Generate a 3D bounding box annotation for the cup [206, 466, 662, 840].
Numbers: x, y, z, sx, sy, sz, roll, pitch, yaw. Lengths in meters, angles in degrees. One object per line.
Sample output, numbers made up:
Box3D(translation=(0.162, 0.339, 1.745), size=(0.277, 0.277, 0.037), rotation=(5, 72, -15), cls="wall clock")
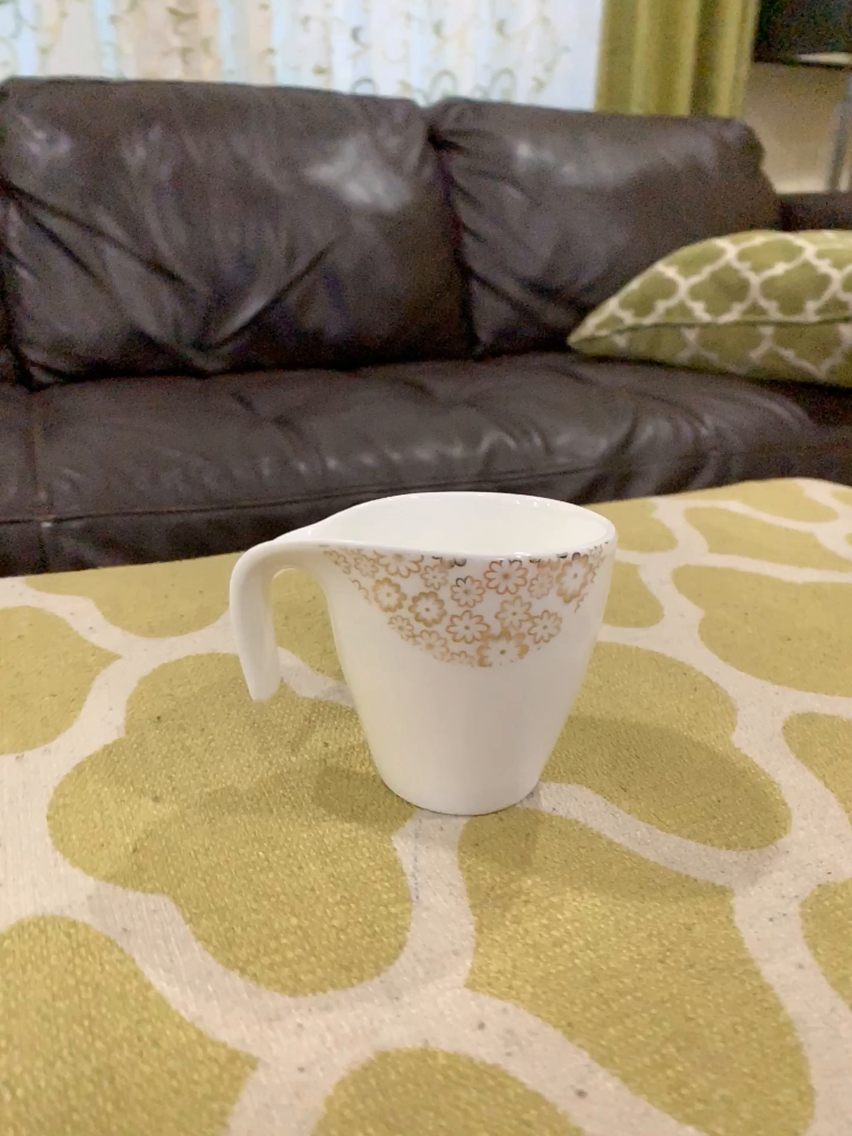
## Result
Box3D(translation=(0.001, 0.020, 0.265), size=(0.108, 0.079, 0.089), rotation=(0, 21, -1), cls="cup")
